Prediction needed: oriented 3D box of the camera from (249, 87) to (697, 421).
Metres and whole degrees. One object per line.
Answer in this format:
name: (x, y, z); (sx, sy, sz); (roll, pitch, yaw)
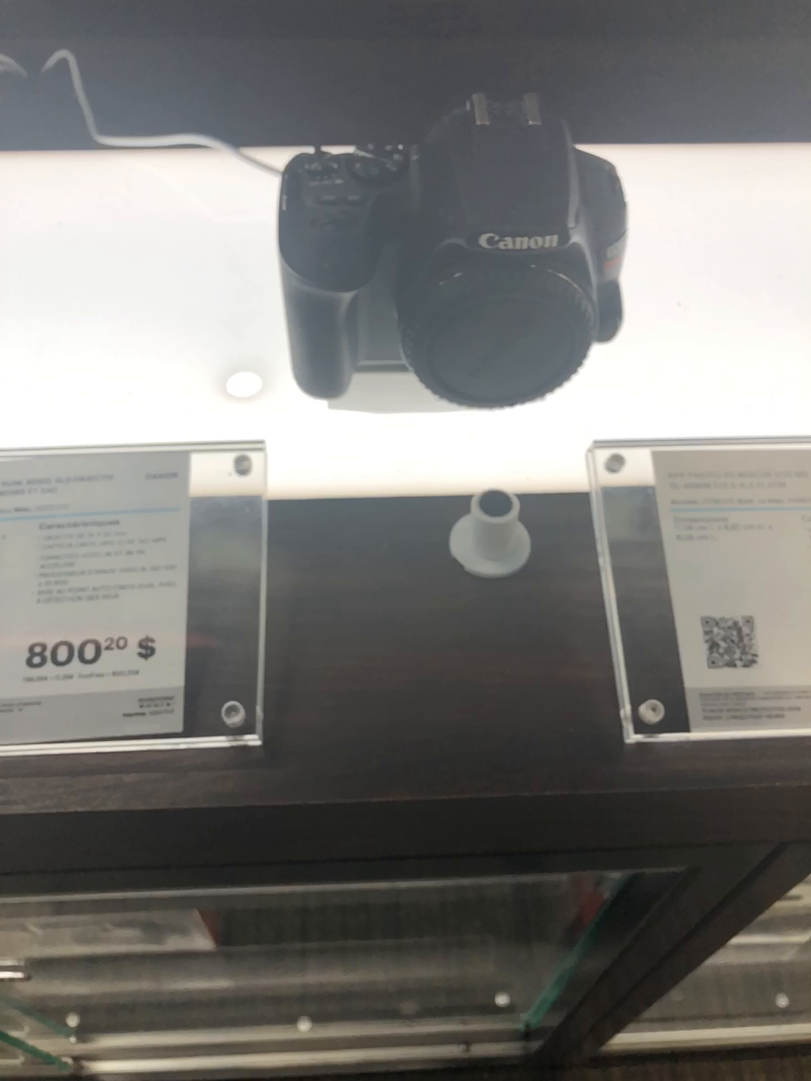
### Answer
camera: (0.017, -0.095, 0.301); (0.123, 0.071, 0.081); (-1, 53, -2)
